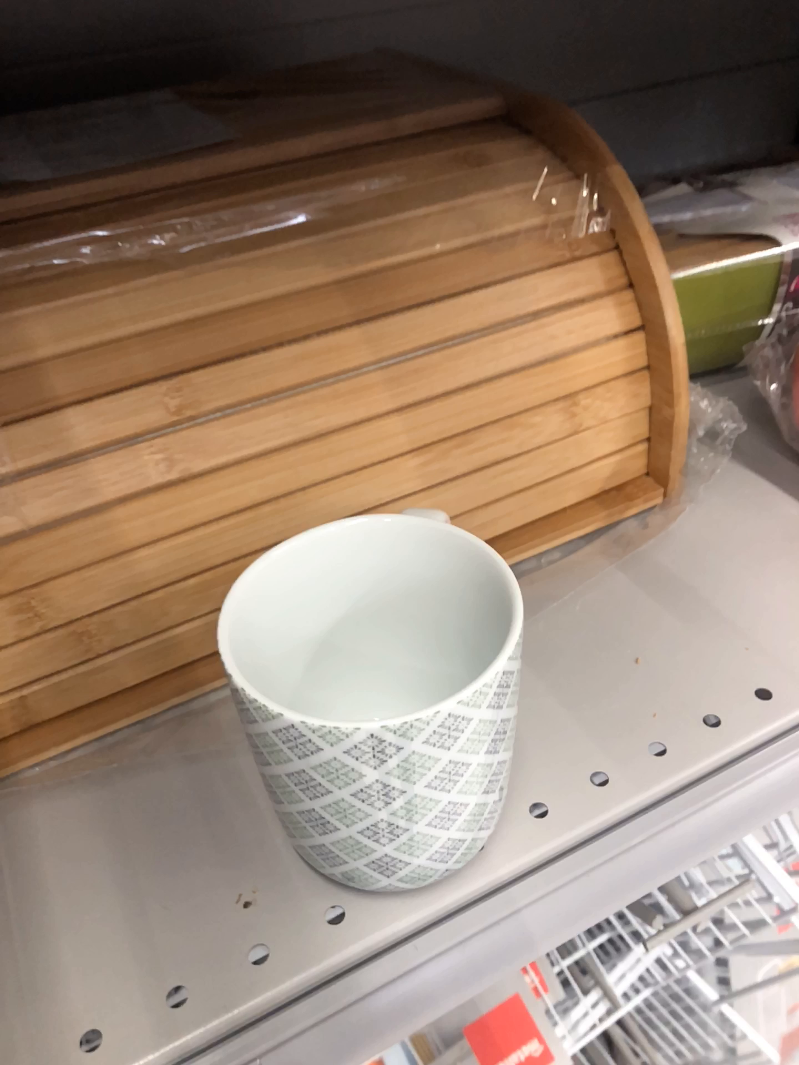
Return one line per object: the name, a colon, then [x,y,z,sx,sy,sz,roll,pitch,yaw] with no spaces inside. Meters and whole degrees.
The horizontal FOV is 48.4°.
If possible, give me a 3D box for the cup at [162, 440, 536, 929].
cup: [-0.004,0.042,0.287,0.085,0.090,0.119,4,38,10]
